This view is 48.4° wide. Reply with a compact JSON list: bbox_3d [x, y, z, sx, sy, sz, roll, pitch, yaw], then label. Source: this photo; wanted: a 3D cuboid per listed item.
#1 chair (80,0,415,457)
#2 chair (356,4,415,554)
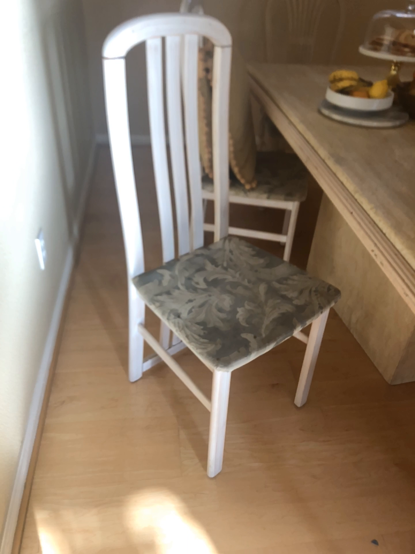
[{"bbox_3d":[0.098,-0.231,1.594,0.634,1.448,0.672,-23,41,-32],"label":"chair"},{"bbox_3d":[0.776,0.439,0.627,0.630,1.288,0.595,25,41,24],"label":"chair"}]
